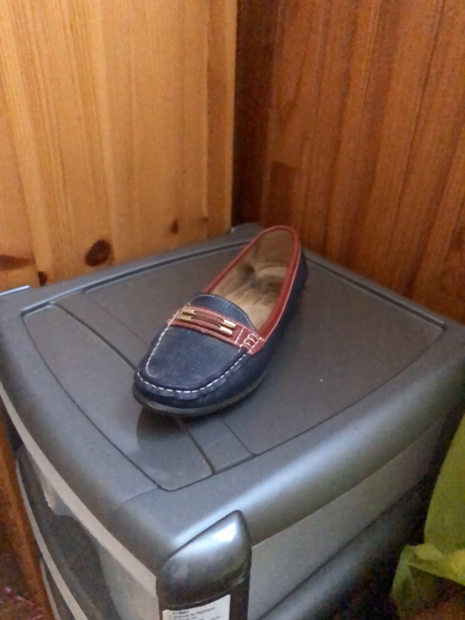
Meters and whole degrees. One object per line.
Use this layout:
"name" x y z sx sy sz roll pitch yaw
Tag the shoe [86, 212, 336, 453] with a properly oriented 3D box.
"shoe" 0.001 -0.004 0.455 0.100 0.070 0.262 16 34 21
